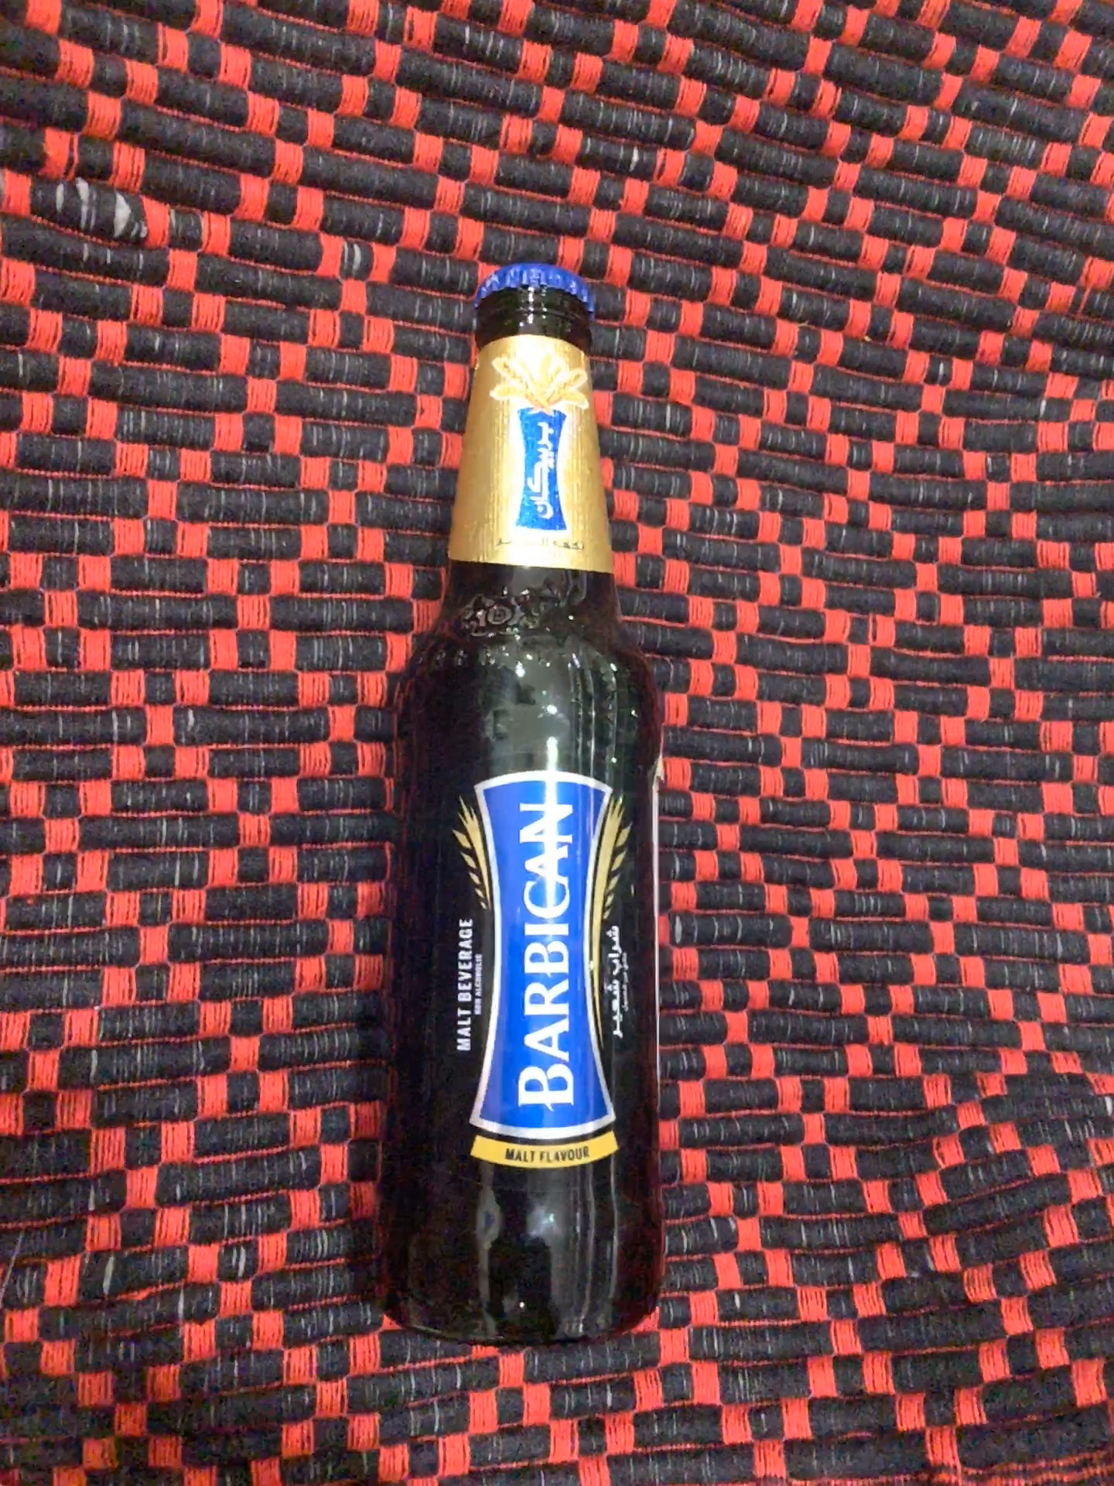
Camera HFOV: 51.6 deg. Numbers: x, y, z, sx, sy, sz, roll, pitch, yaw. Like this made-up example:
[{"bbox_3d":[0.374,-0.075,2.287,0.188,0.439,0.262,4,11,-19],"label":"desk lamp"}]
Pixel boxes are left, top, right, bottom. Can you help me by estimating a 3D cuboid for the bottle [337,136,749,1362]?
[{"bbox_3d":[-0.006,-0.002,0.232,0.060,0.060,0.210,4,79,-20],"label":"bottle"}]
